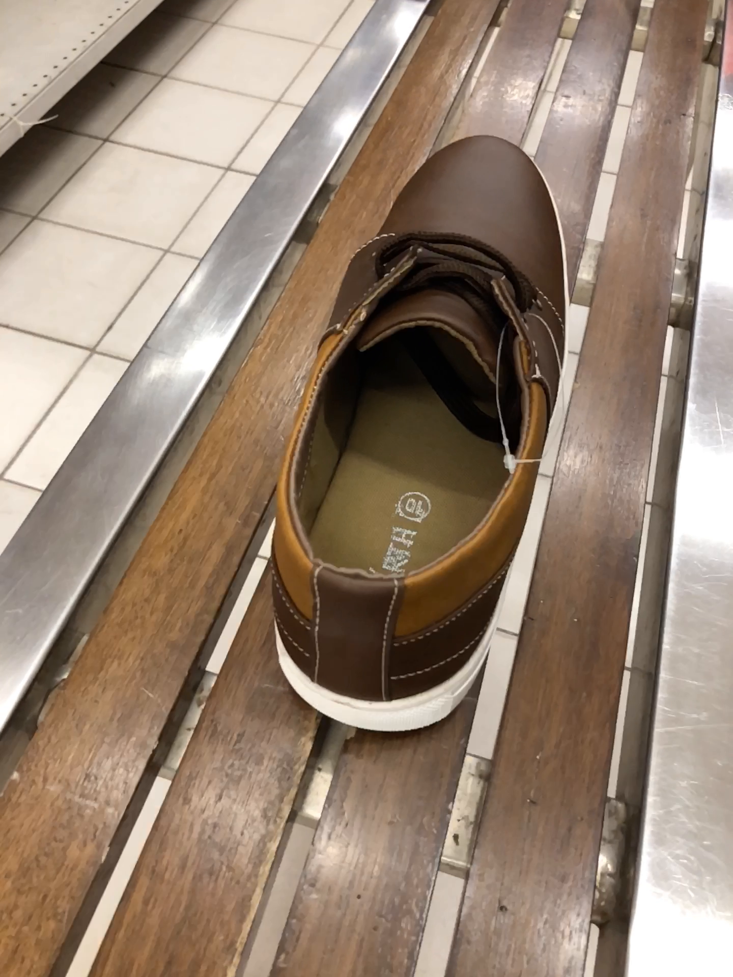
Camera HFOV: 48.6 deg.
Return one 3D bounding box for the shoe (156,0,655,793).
[{"bbox_3d":[0.037,-0.064,0.325,0.109,0.114,0.313,12,55,6],"label":"shoe"}]
